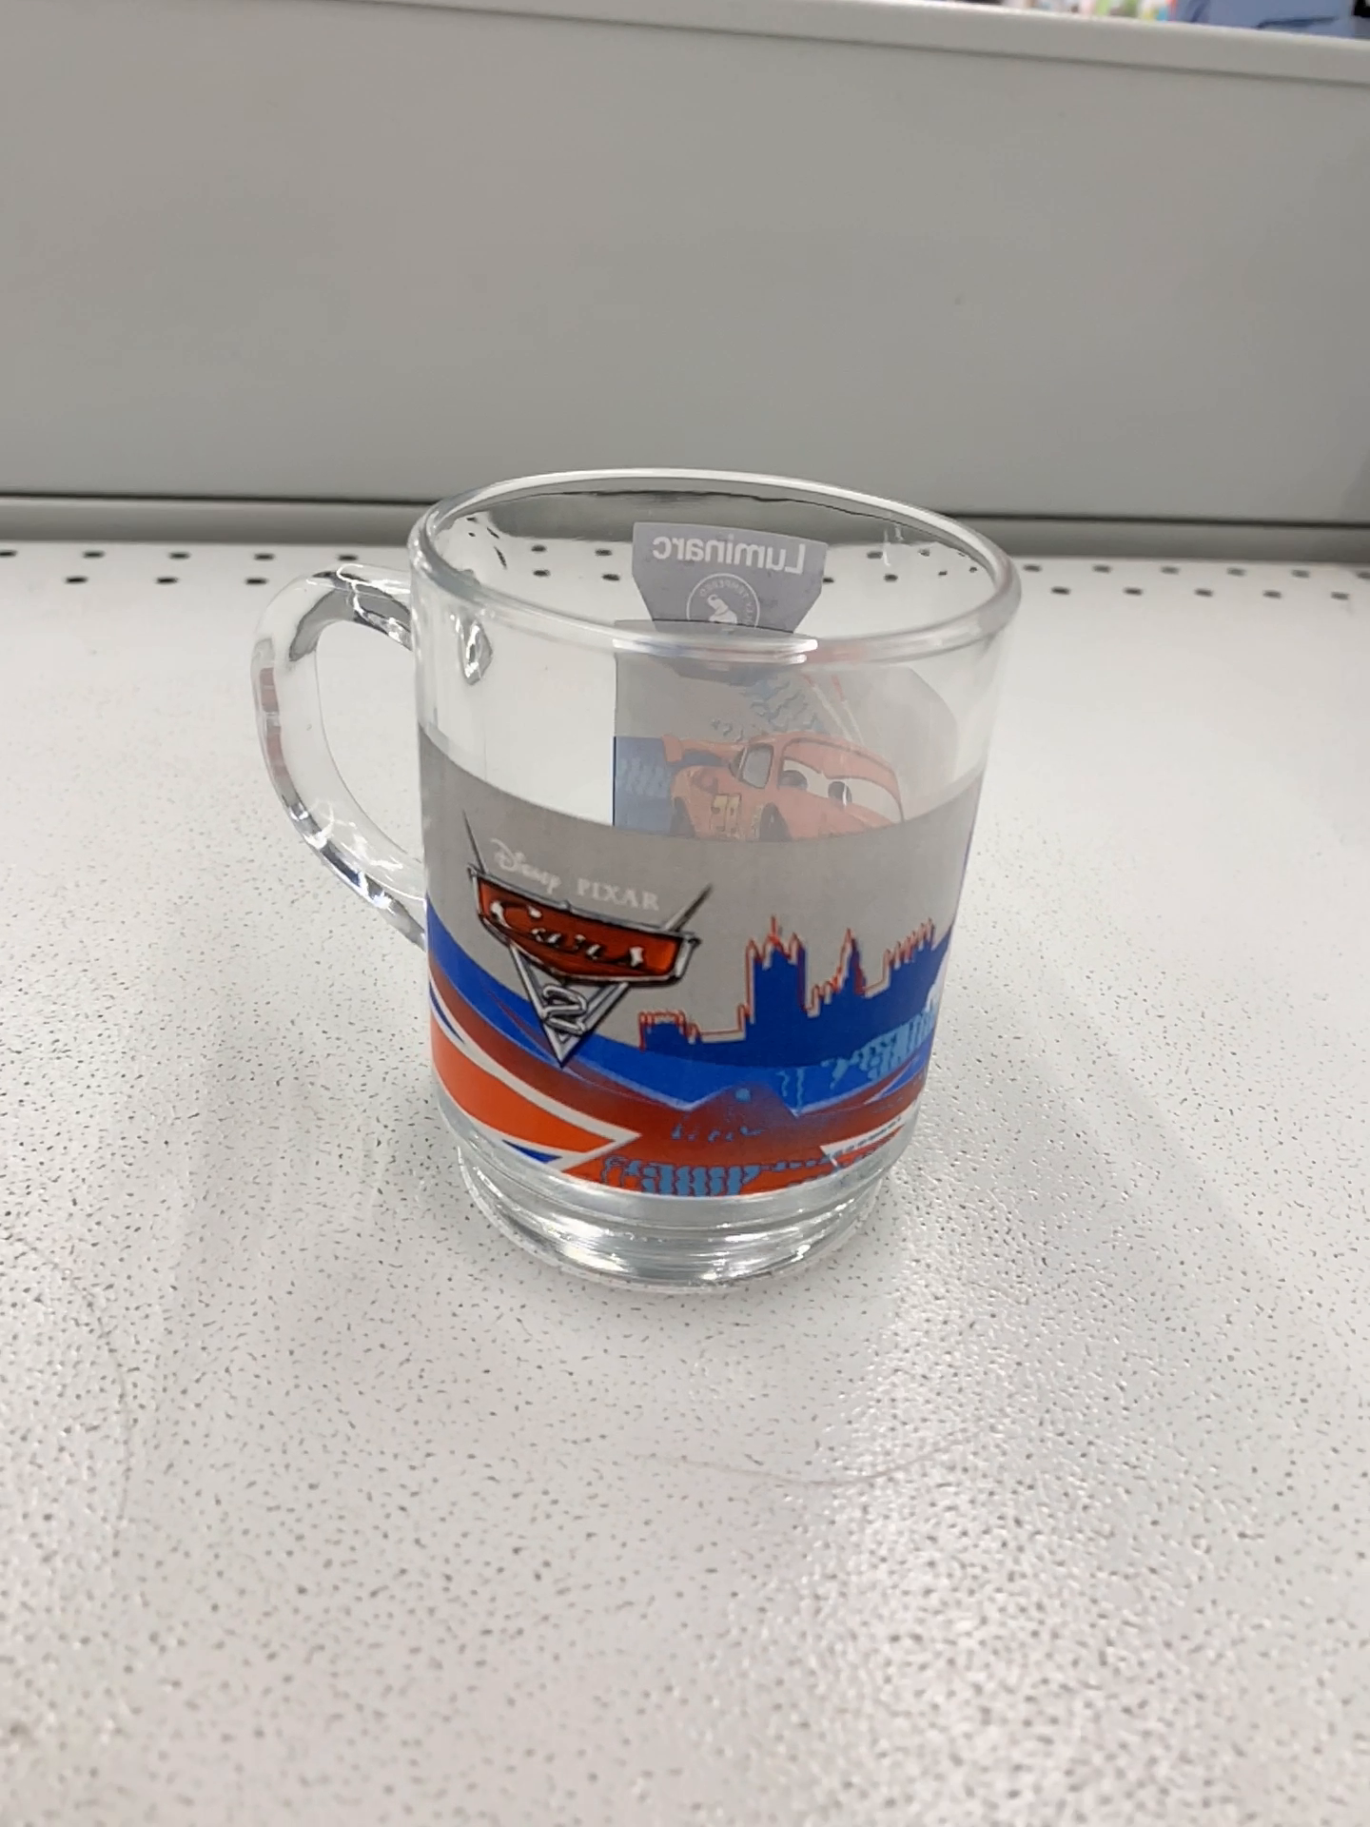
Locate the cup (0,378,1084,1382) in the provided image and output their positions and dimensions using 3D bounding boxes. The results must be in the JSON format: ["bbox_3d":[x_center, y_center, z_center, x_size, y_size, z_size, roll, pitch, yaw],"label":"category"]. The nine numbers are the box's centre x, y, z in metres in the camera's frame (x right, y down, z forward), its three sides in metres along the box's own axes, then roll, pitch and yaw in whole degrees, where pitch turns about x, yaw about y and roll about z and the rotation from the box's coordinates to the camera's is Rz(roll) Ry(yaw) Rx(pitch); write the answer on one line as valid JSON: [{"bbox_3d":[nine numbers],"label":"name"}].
[{"bbox_3d":[-0.016,-0.013,0.188,0.108,0.087,0.071,15,32,18],"label":"cup"}]
